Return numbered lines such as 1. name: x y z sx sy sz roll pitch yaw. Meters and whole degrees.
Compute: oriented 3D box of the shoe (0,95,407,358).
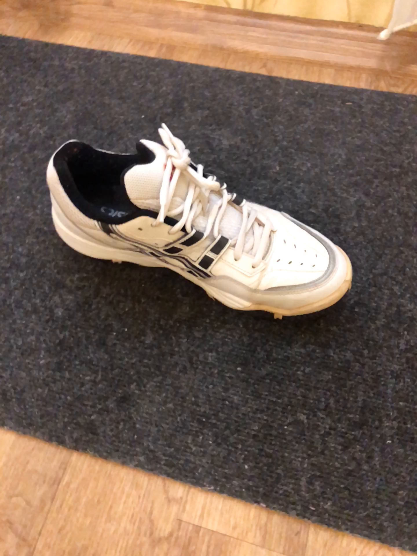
1. shoe: -0.012 -0.044 0.378 0.289 0.110 0.100 16 63 12
